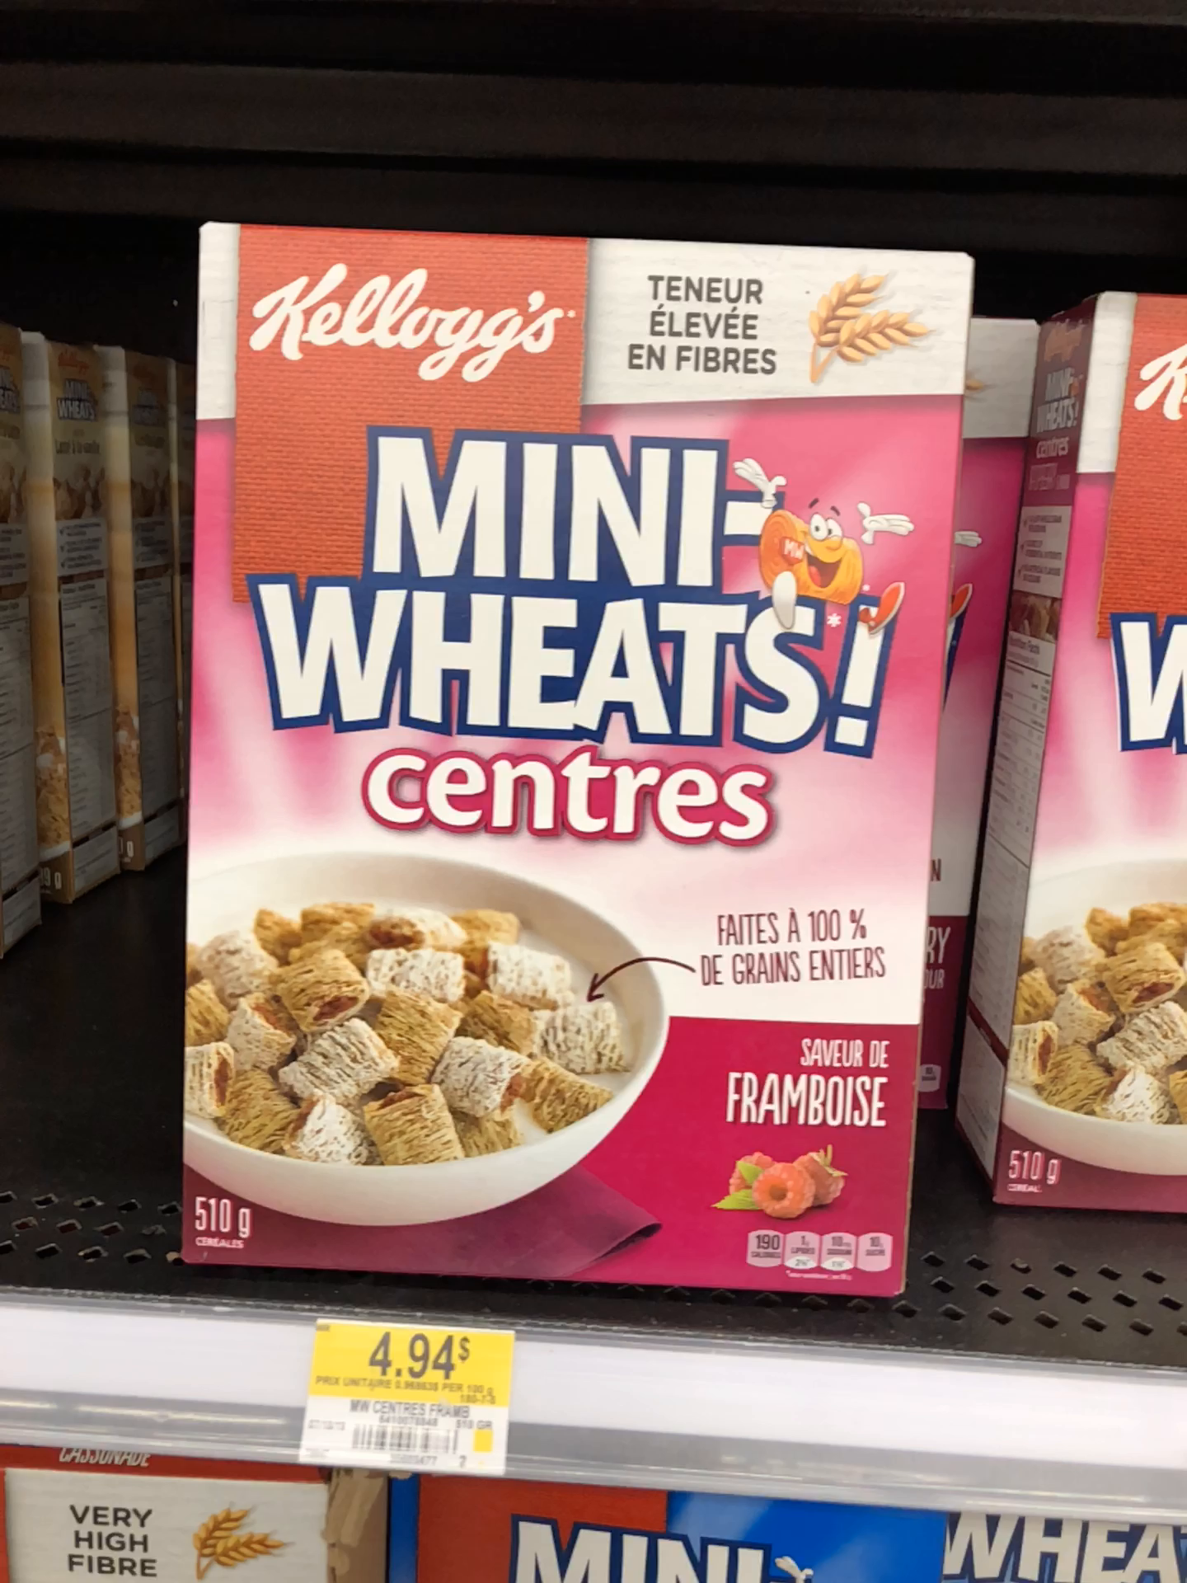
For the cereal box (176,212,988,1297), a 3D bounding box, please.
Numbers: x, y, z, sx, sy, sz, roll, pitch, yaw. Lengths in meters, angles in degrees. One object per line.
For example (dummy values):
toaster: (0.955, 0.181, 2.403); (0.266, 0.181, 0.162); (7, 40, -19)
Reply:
cereal box: (-0.007, -0.008, 0.356); (0.190, 0.259, 0.070); (2, 7, 1)
